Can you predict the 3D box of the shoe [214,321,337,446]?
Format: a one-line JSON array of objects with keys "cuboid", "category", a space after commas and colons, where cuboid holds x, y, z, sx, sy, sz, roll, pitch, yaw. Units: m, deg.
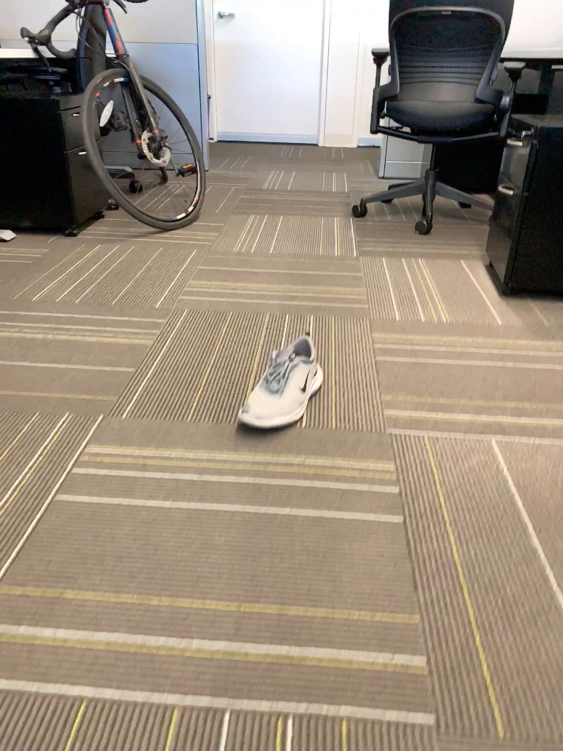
[{"cuboid": [-0.003, 0.004, 1.288, 0.160, 0.109, 0.332, 12, 31, 17], "category": "shoe"}]
